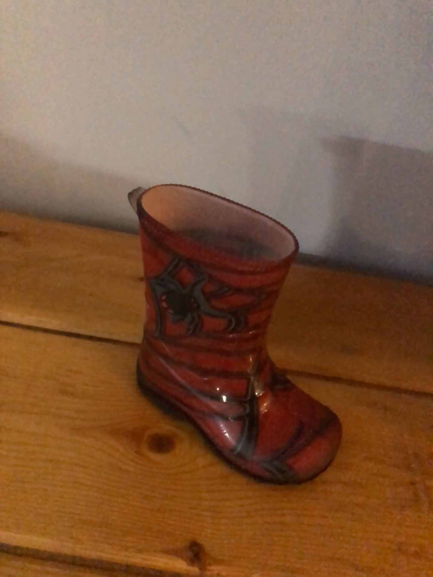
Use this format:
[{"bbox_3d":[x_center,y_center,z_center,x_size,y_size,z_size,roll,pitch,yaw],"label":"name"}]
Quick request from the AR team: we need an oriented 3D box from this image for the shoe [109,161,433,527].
[{"bbox_3d":[0.022,0.038,0.307,0.160,0.169,0.080,28,46,17],"label":"shoe"}]
